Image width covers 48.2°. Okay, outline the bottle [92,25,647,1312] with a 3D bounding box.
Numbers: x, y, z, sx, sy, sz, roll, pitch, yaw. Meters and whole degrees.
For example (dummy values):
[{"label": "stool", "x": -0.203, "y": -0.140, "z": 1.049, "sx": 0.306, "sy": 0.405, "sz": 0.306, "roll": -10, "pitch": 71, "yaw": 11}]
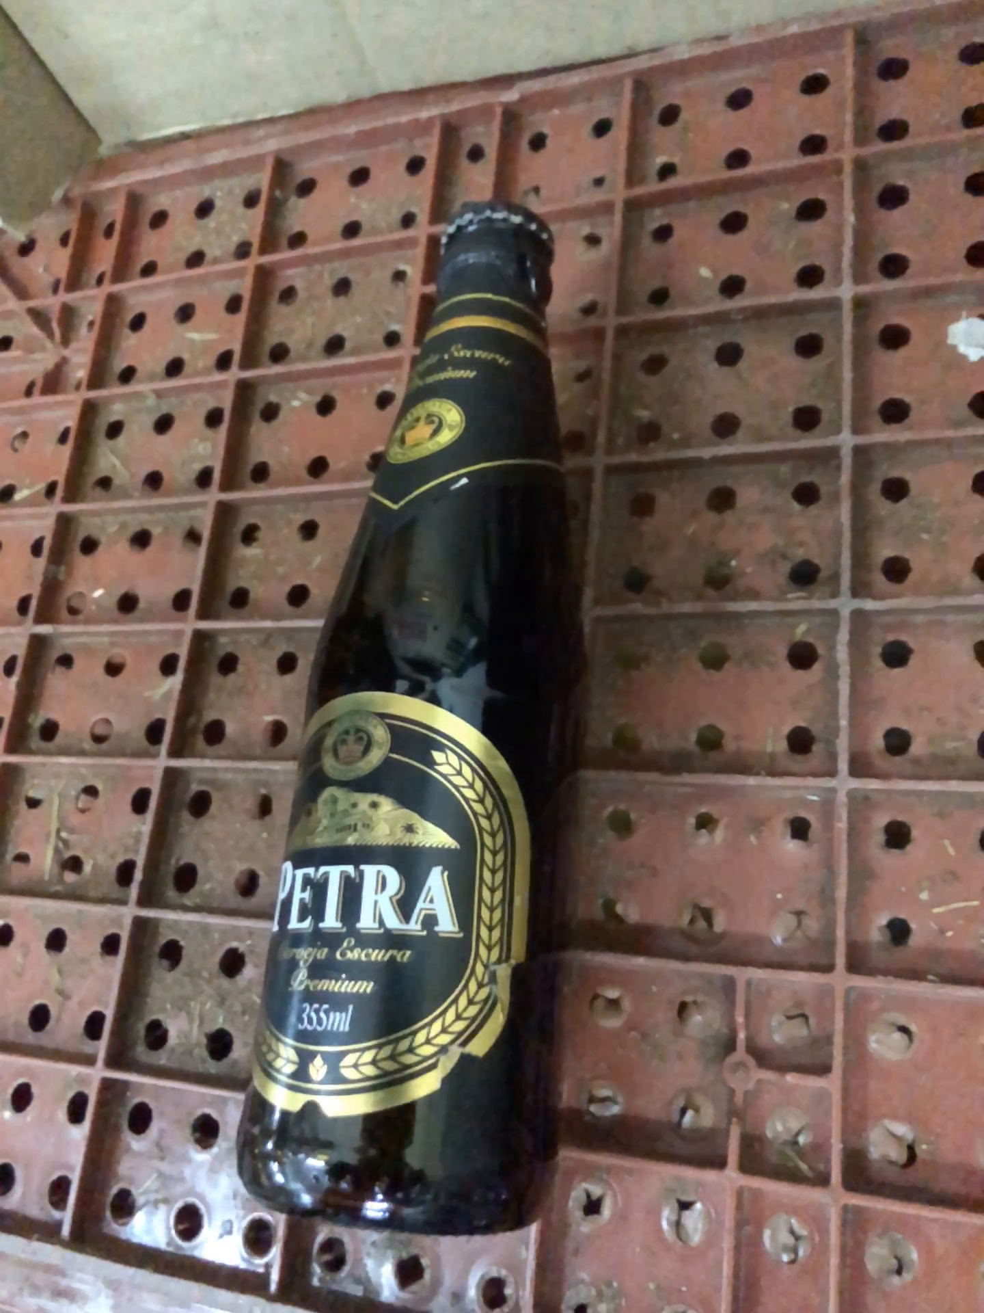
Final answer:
[{"label": "bottle", "x": -0.012, "y": -0.006, "z": 0.234, "sx": 0.070, "sy": 0.060, "sz": 0.250, "roll": -3, "pitch": 70, "yaw": 21}]
